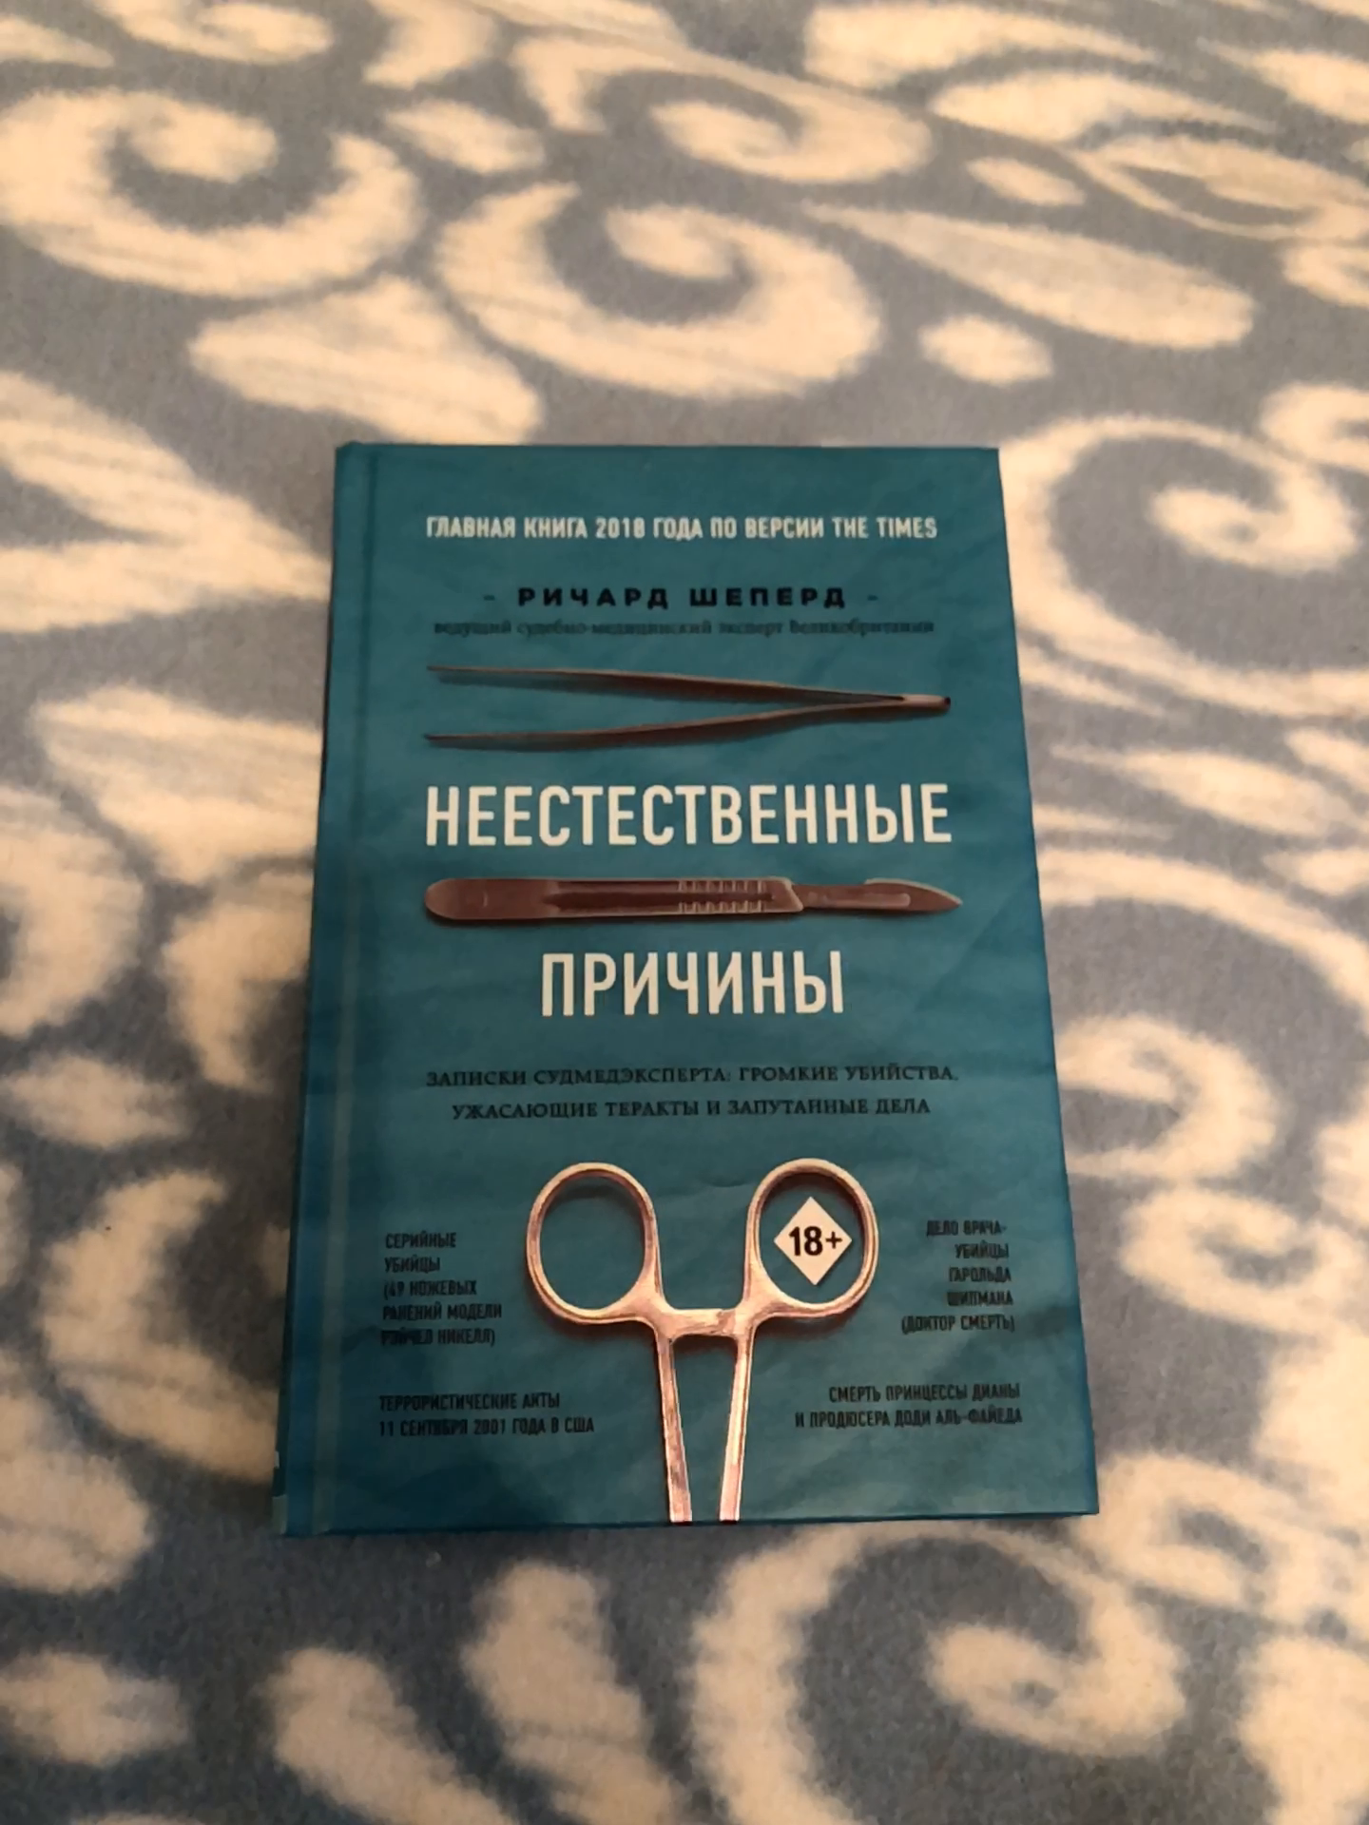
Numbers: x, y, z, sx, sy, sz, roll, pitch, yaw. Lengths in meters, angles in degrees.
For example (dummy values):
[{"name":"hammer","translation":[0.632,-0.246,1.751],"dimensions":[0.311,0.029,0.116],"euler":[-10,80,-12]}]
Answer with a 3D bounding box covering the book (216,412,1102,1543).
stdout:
[{"name":"book","translation":[-0.006,0.003,0.300],"dimensions":[0.149,0.025,0.218],"euler":[0,73,-3]}]
